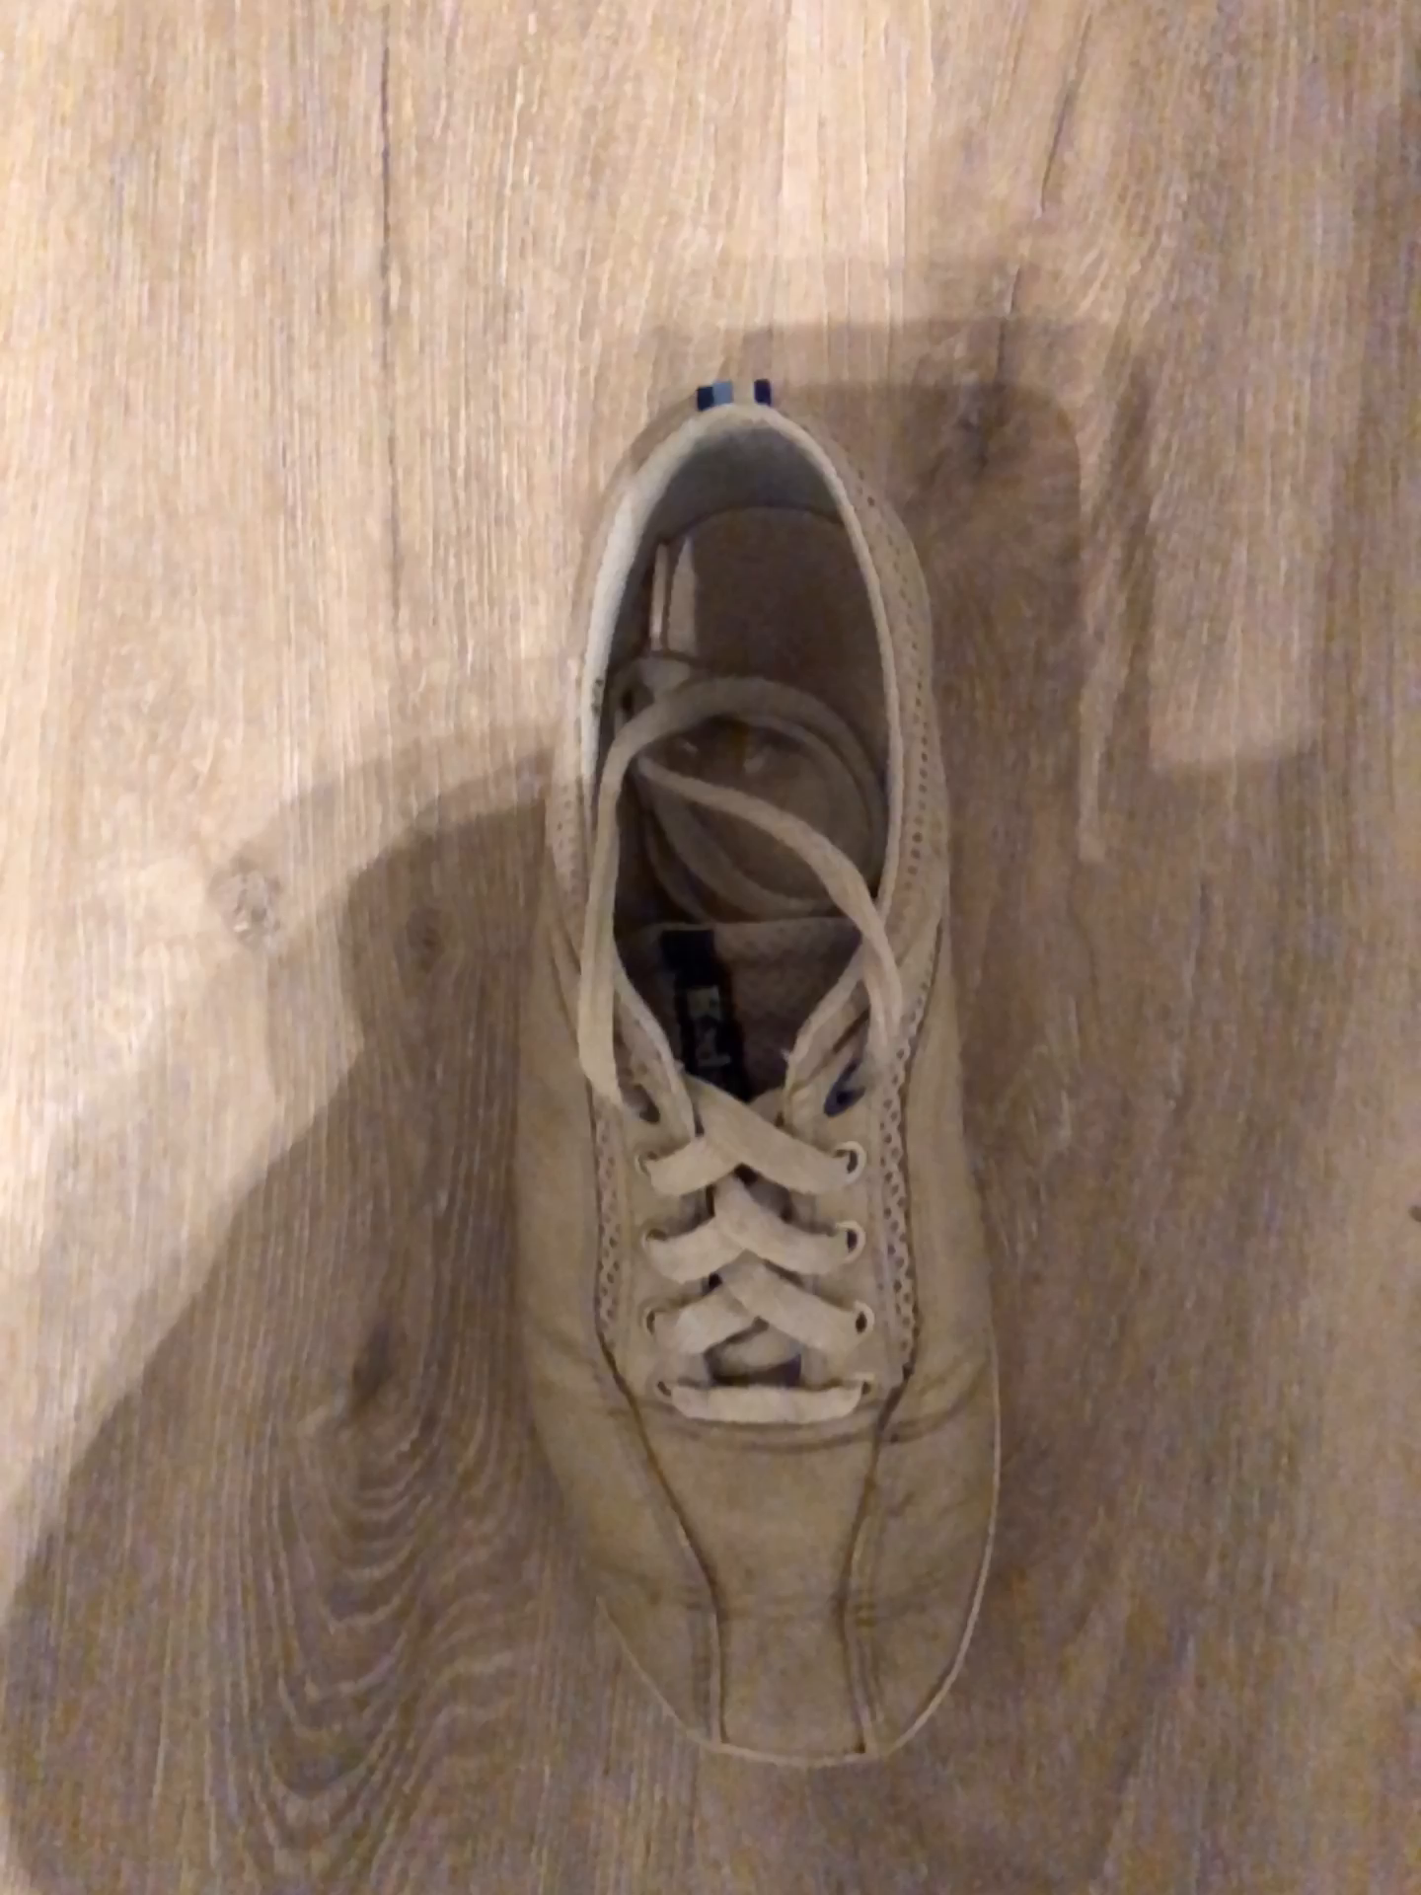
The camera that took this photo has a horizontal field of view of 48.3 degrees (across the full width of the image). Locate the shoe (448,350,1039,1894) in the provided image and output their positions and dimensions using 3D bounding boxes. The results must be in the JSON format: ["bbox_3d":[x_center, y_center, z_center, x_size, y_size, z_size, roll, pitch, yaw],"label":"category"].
[{"bbox_3d":[0.007,0.033,0.284,0.090,0.070,0.250,-1,87,5],"label":"shoe"}]
